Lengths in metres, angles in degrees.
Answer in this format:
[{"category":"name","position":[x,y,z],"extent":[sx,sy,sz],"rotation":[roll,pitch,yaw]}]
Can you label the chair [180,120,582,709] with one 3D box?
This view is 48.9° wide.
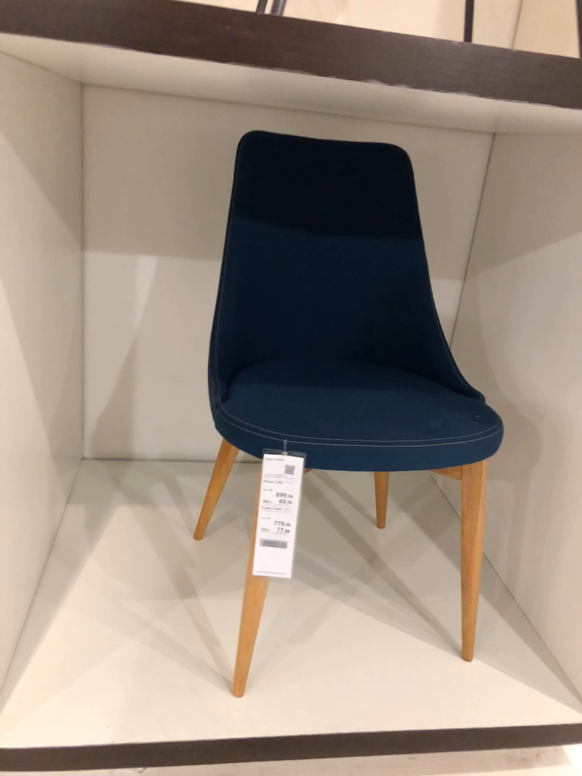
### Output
[{"category":"chair","position":[0.099,0.006,1.166],"extent":[0.520,0.864,0.523],"rotation":[0,21,-15]}]
